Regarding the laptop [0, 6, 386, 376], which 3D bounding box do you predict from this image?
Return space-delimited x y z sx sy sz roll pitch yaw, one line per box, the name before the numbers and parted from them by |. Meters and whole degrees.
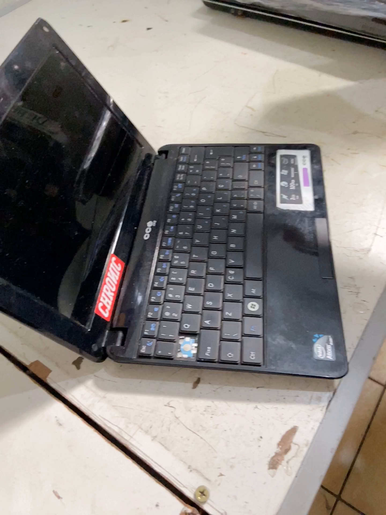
laptop | -0.013 -0.065 0.317 0.257 0.137 0.254 2 53 8
